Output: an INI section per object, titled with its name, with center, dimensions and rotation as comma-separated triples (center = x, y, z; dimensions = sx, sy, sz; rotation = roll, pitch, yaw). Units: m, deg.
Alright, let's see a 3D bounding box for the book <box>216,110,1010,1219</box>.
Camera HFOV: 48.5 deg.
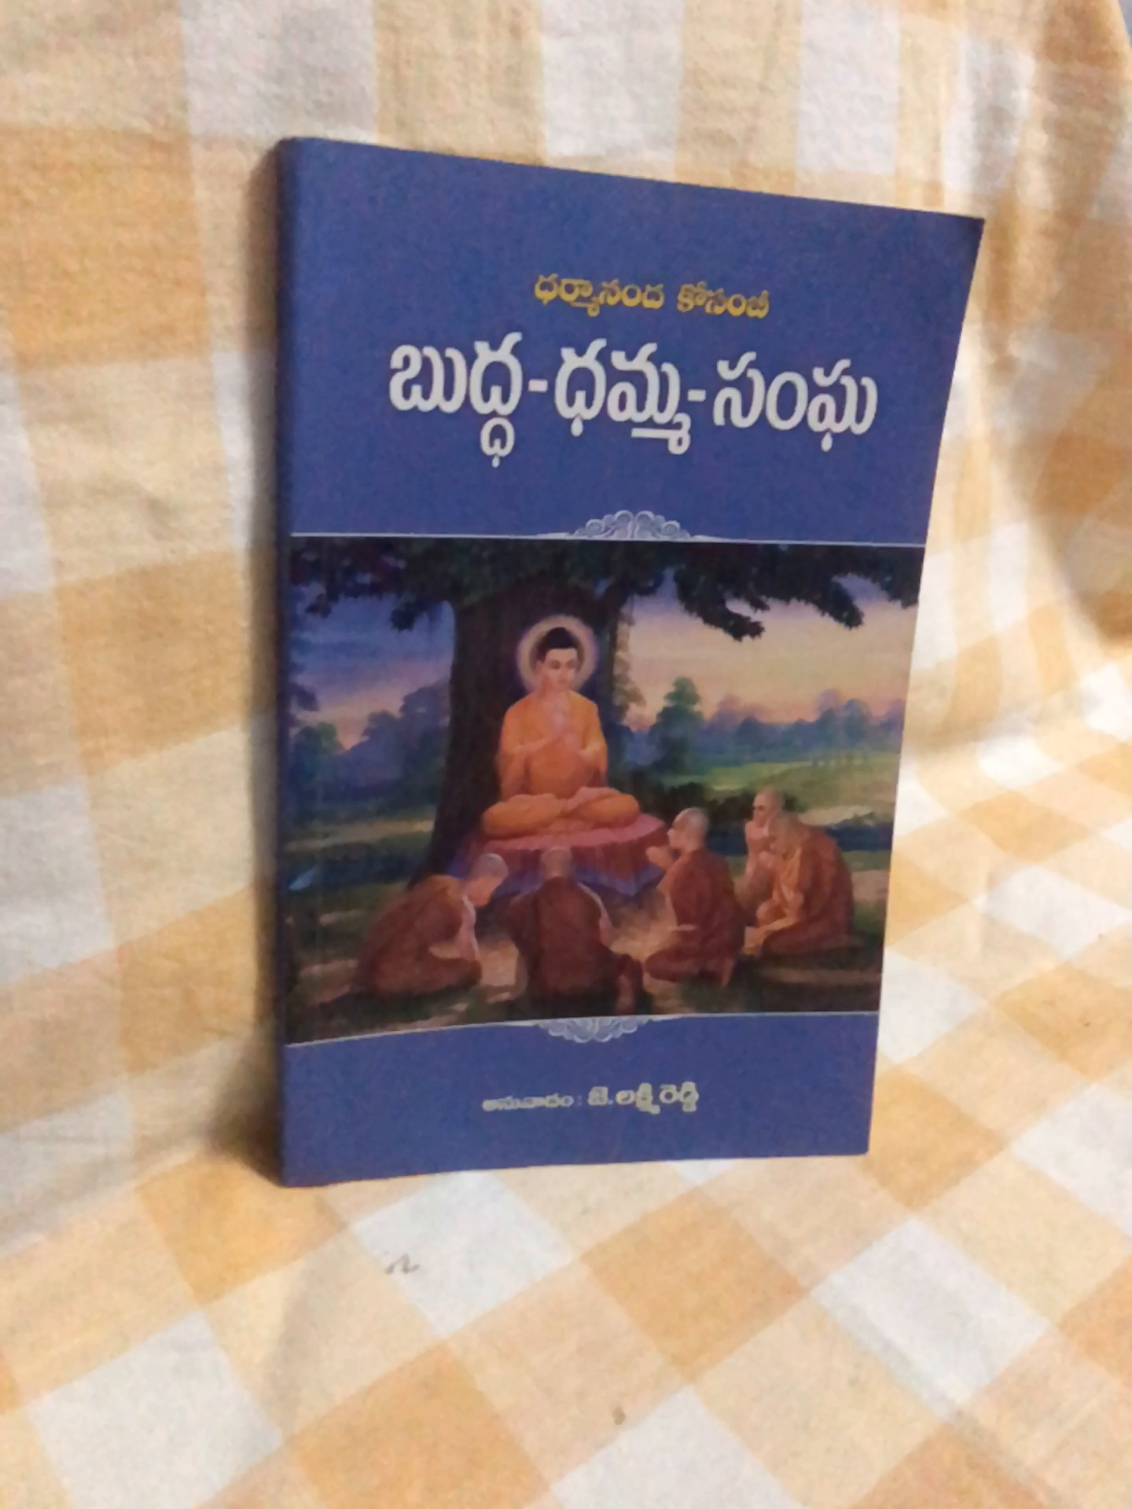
[book]
center = 0.006, -0.008, 0.268
dimensions = 0.150, 0.219, 0.020
rotation = 0, 14, -10
